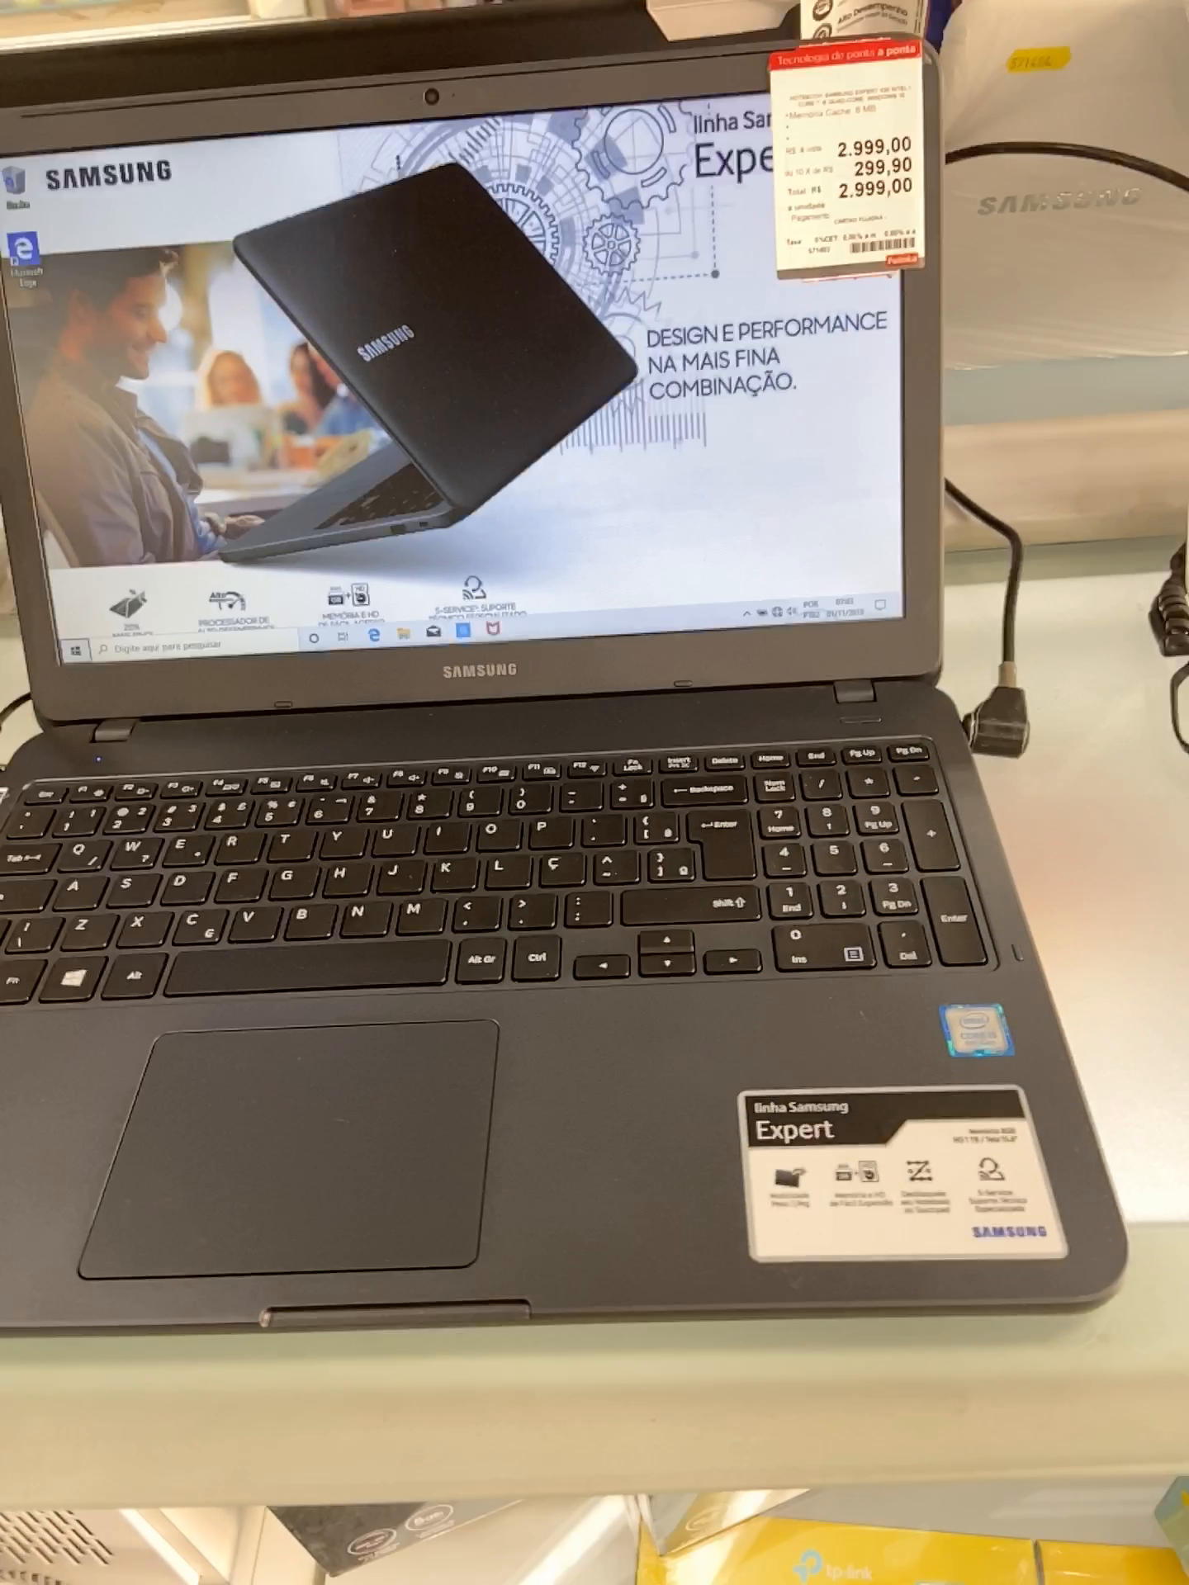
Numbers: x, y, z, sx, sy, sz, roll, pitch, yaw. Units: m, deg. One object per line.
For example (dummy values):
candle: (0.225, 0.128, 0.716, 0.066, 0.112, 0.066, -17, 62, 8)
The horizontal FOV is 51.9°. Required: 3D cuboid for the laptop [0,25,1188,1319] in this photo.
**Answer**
laptop: (-0.058, -0.068, 0.390, 0.371, 0.200, 0.370, -3, 43, 4)
